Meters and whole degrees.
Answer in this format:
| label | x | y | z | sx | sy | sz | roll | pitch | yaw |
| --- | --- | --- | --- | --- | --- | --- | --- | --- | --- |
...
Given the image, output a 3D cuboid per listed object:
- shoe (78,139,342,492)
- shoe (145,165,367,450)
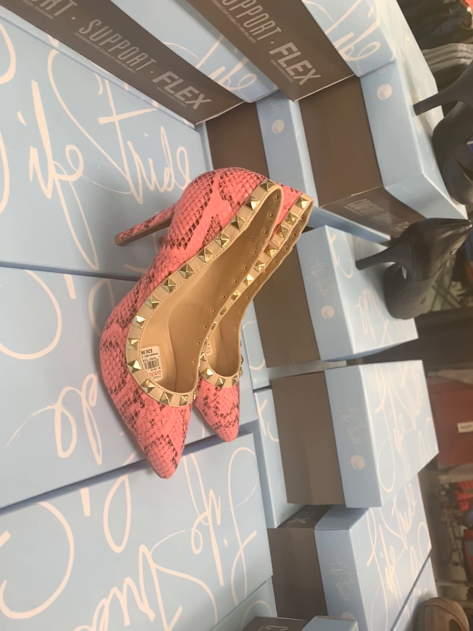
| label | x | y | z | sx | sy | sz | roll | pitch | yaw |
| --- | --- | --- | --- | --- | --- | --- | --- | --- | --- |
| shoe | -0.021 | 0.008 | 0.340 | 0.080 | 0.128 | 0.199 | -1 | 78 | -59 |
| shoe | 0.015 | 0.000 | 0.408 | 0.082 | 0.128 | 0.195 | -1 | 78 | -59 |
